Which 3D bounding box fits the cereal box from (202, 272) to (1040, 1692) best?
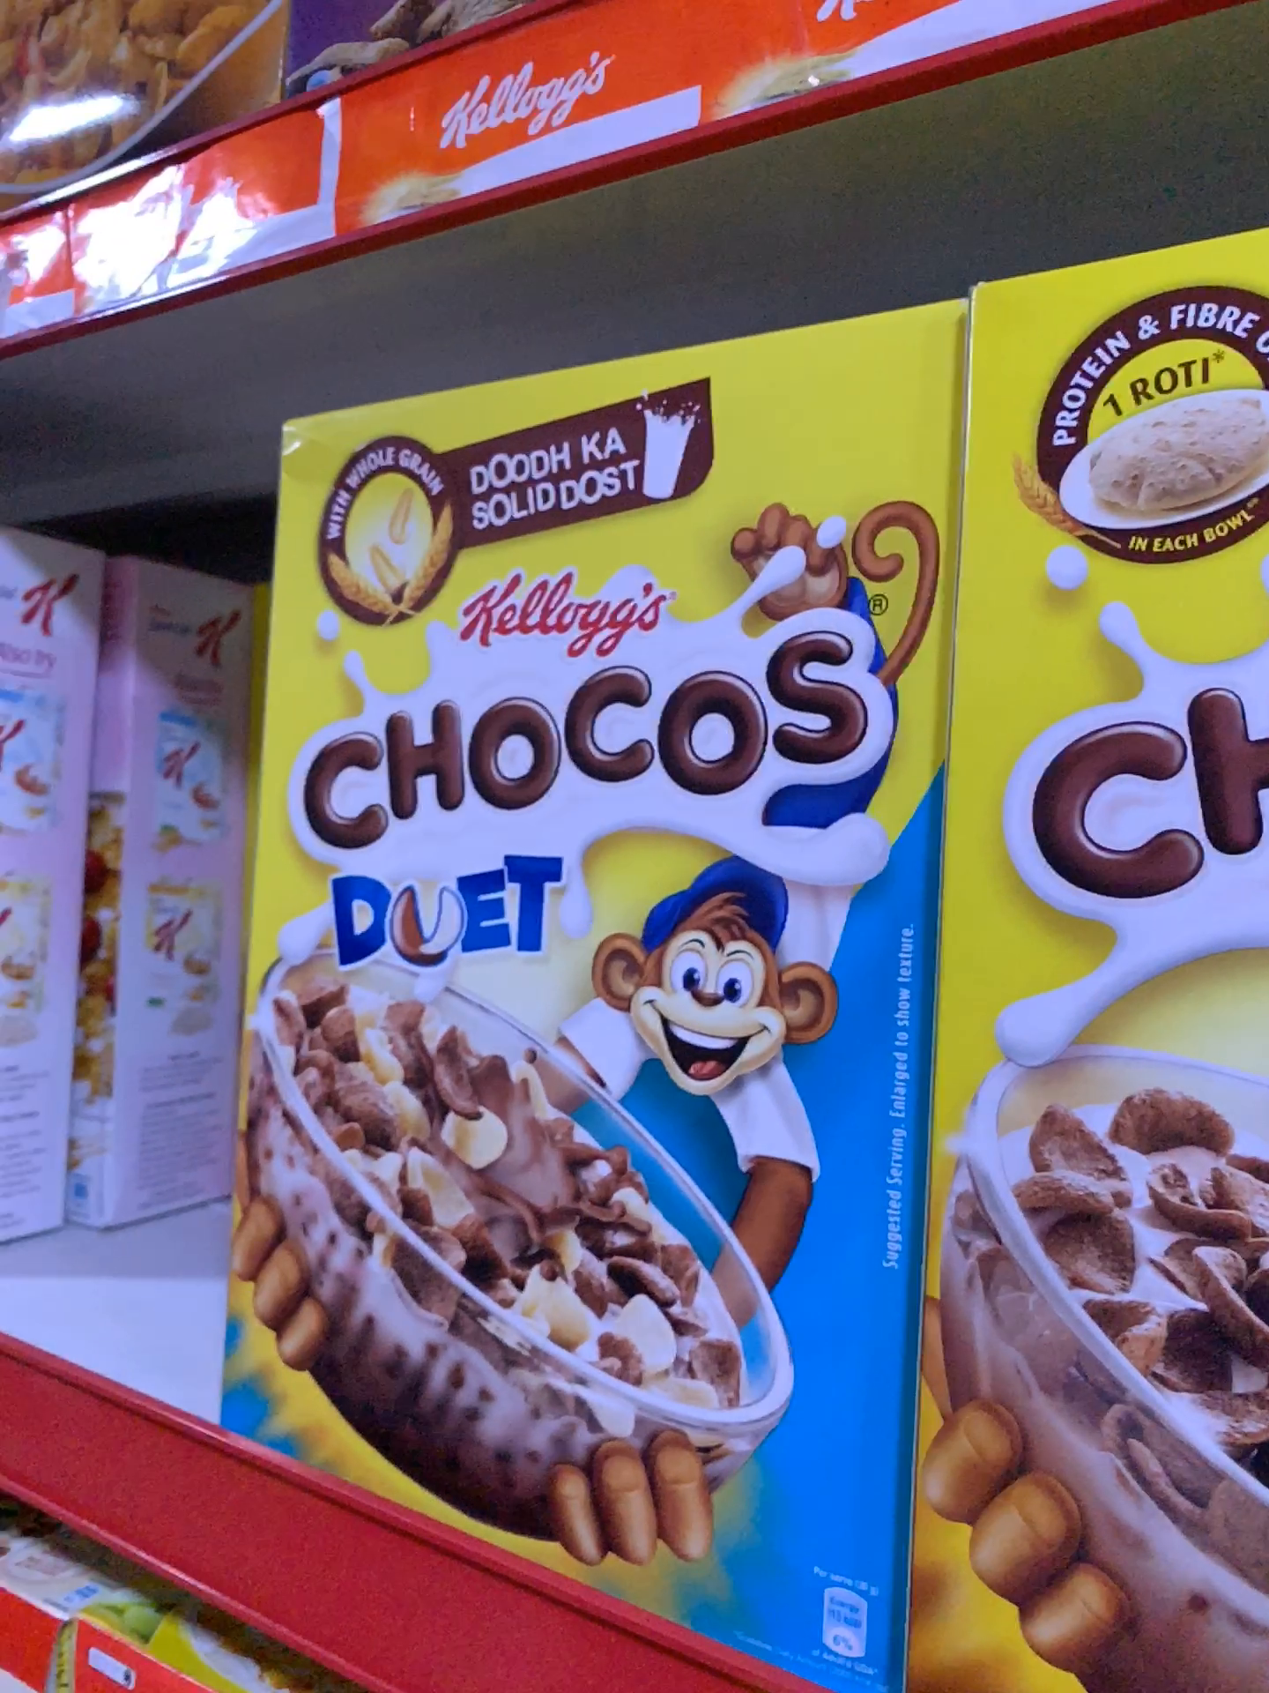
[{"bbox_3d":[-0.009,0.025,0.295,0.170,0.250,0.060,2,-1,34],"label":"cereal box"}]
